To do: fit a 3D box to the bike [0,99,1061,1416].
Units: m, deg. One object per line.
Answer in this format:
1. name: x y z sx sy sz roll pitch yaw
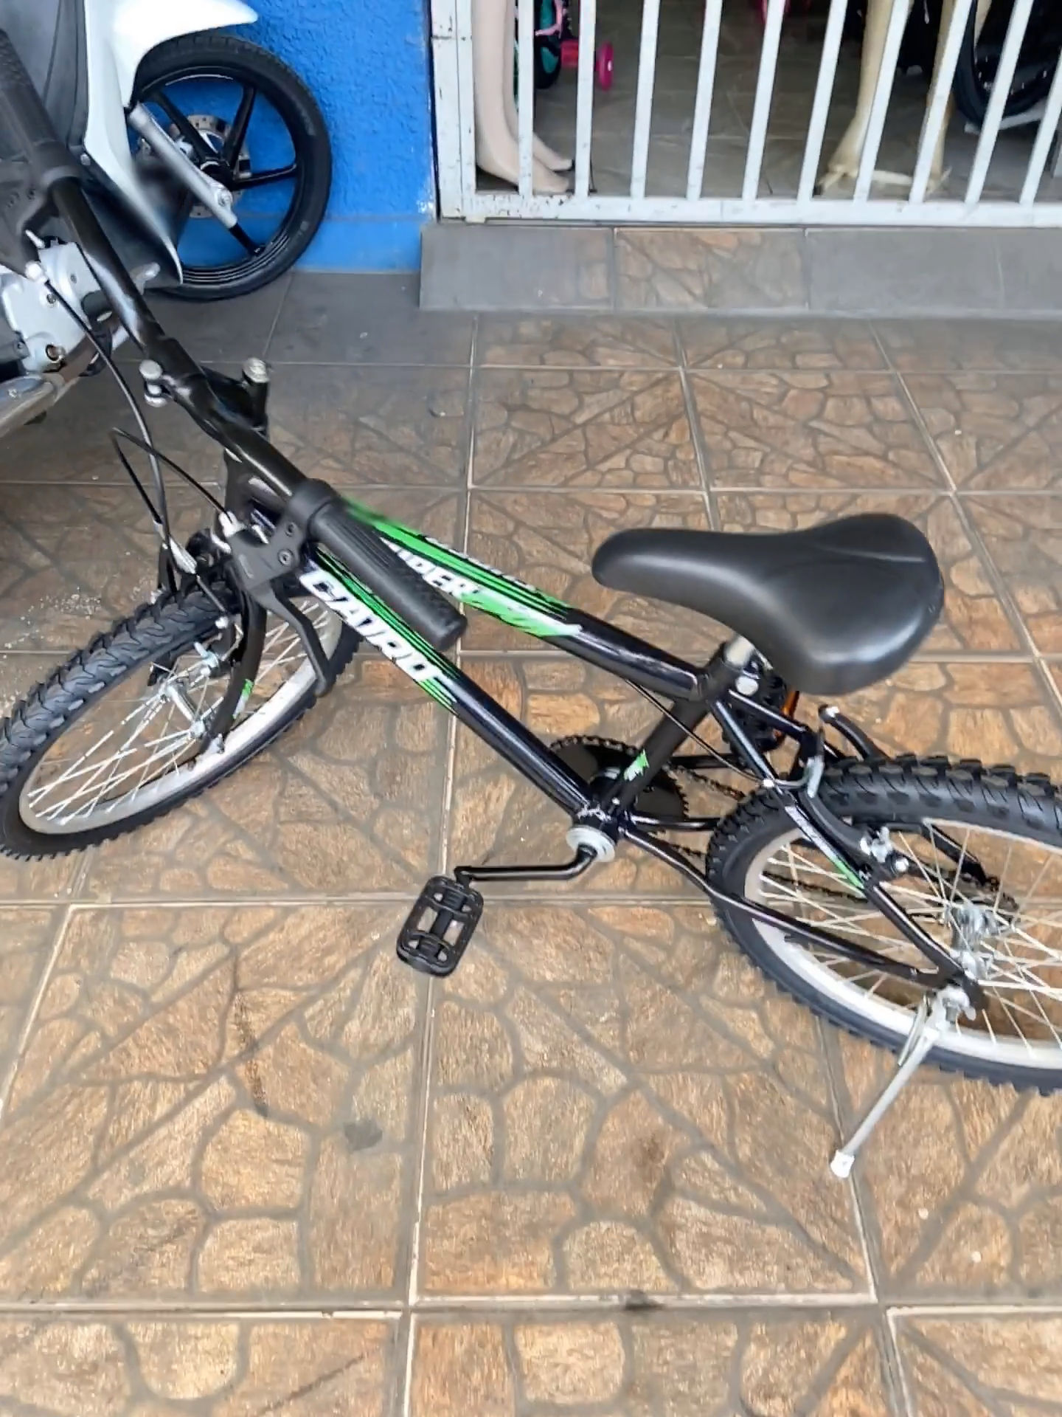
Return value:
1. bike: 0.017 0.083 0.912 1.269 0.934 0.602 8 43 12
